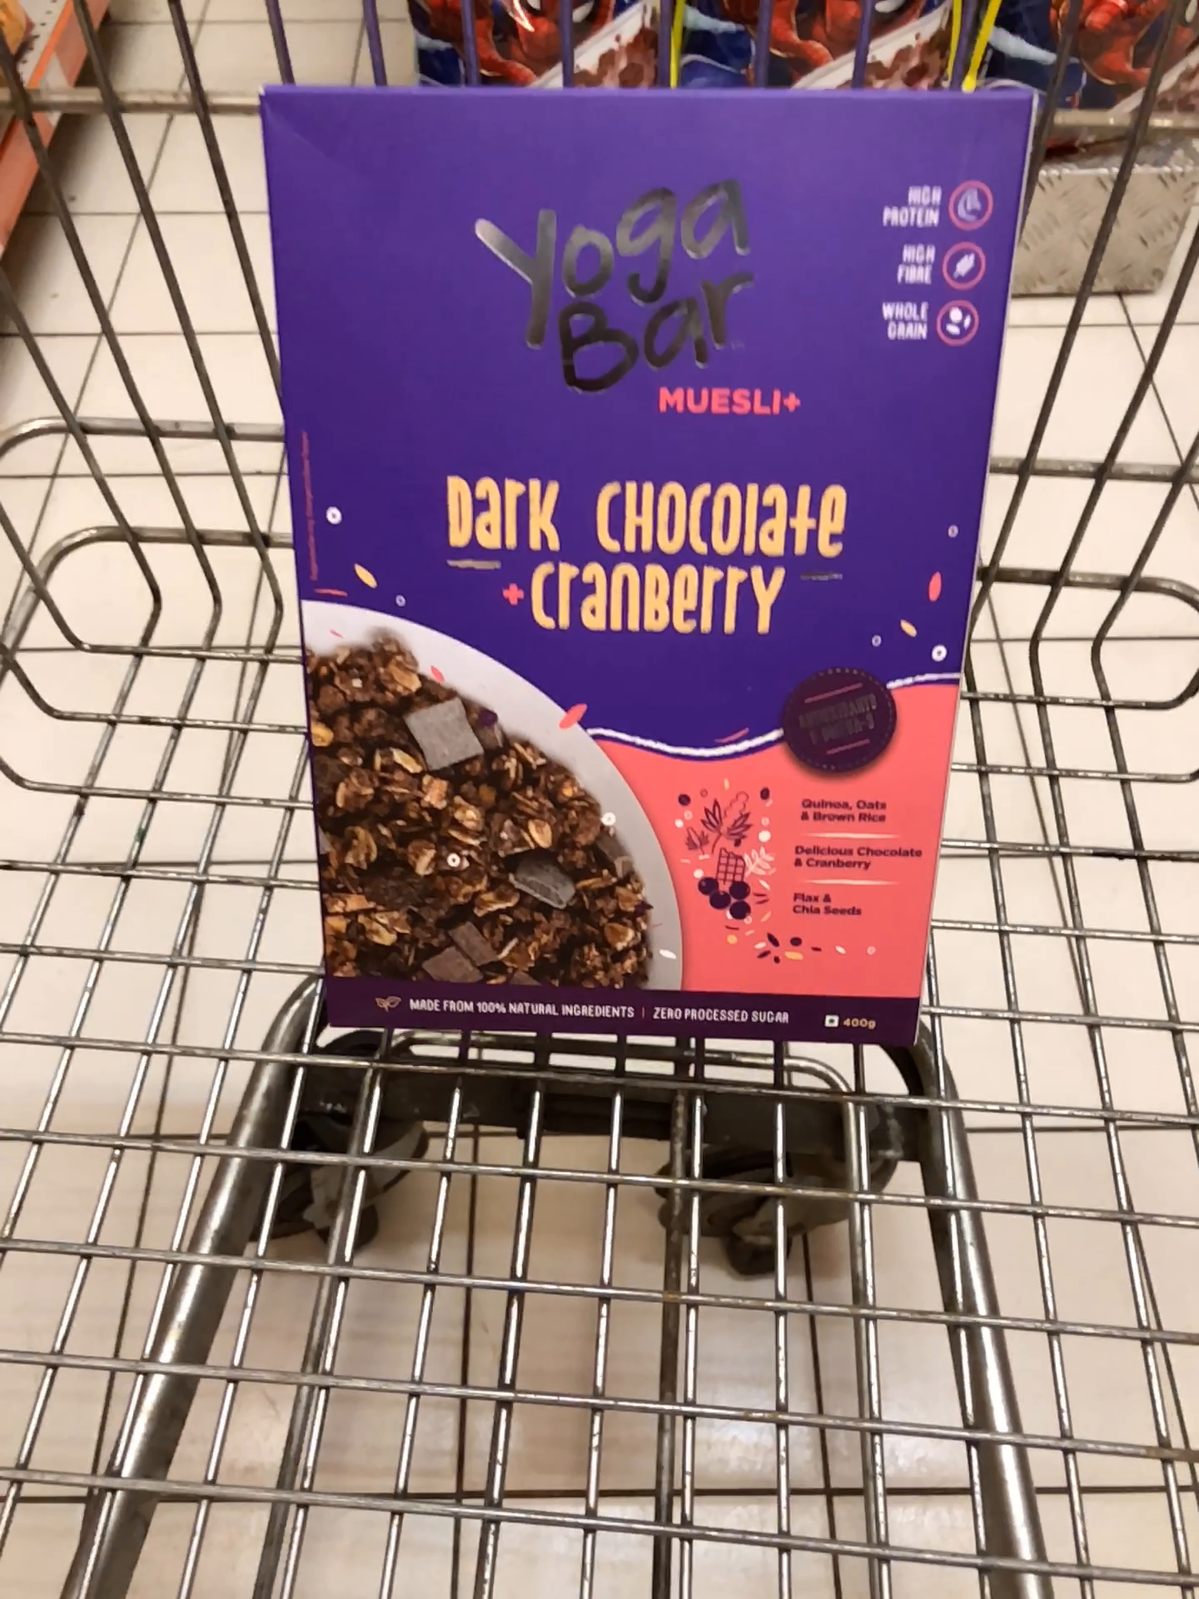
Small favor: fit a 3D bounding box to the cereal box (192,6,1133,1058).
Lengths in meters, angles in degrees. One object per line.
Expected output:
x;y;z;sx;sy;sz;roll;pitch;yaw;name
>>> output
0.010;-0.056;0.325;0.180;0.229;0.060;2;22;2;cereal box
